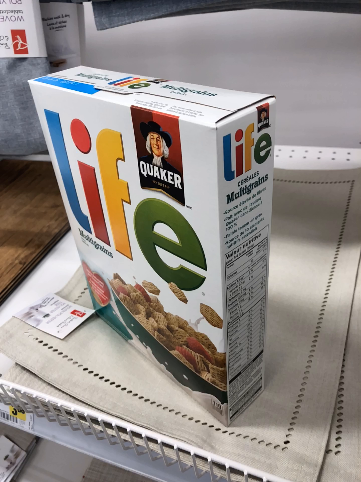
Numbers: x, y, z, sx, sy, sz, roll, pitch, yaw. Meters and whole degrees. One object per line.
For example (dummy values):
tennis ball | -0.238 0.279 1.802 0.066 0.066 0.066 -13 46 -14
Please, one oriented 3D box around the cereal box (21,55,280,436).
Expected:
cereal box | -0.028 0.001 0.356 0.060 0.279 0.211 -30 41 -32
